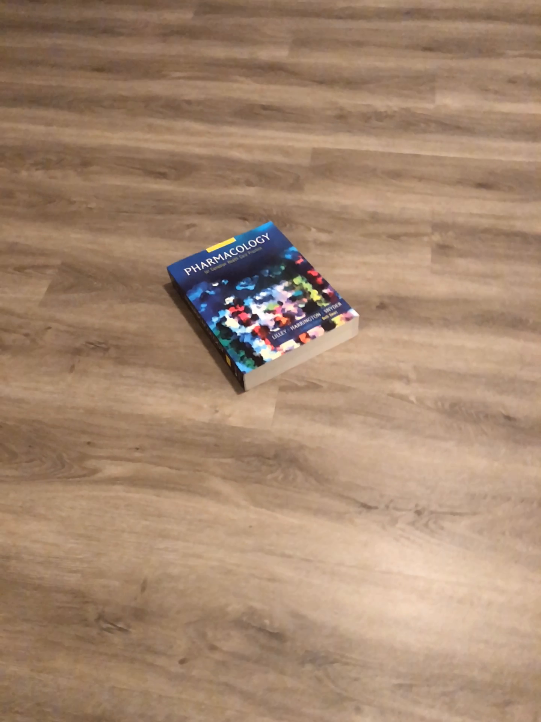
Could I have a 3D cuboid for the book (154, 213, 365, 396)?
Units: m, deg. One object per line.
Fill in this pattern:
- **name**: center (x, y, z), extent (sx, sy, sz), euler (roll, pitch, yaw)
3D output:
- **book**: center (-0.024, -0.106, 0.972), extent (0.228, 0.046, 0.278), euler (-28, 57, -17)
